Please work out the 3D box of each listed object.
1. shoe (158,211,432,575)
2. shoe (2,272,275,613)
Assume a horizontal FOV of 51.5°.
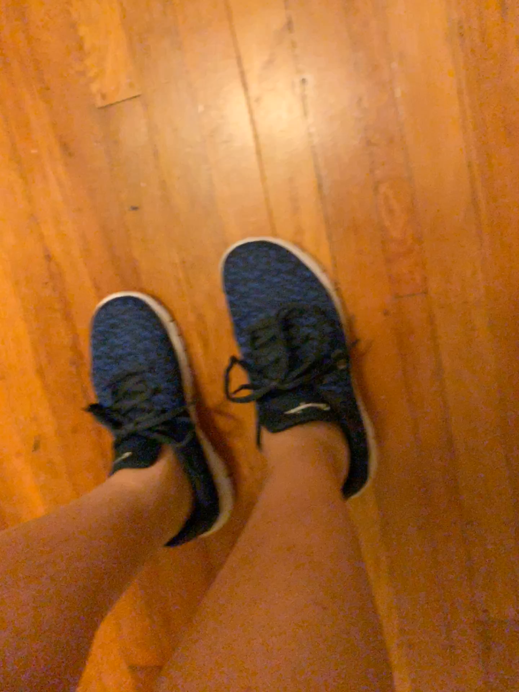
[{"bbox_3d":[0.043,0.034,0.490,0.118,0.130,0.280,-22,97,18],"label":"shoe"},{"bbox_3d":[-0.106,0.088,0.551,0.116,0.150,0.290,-20,98,18],"label":"shoe"}]
